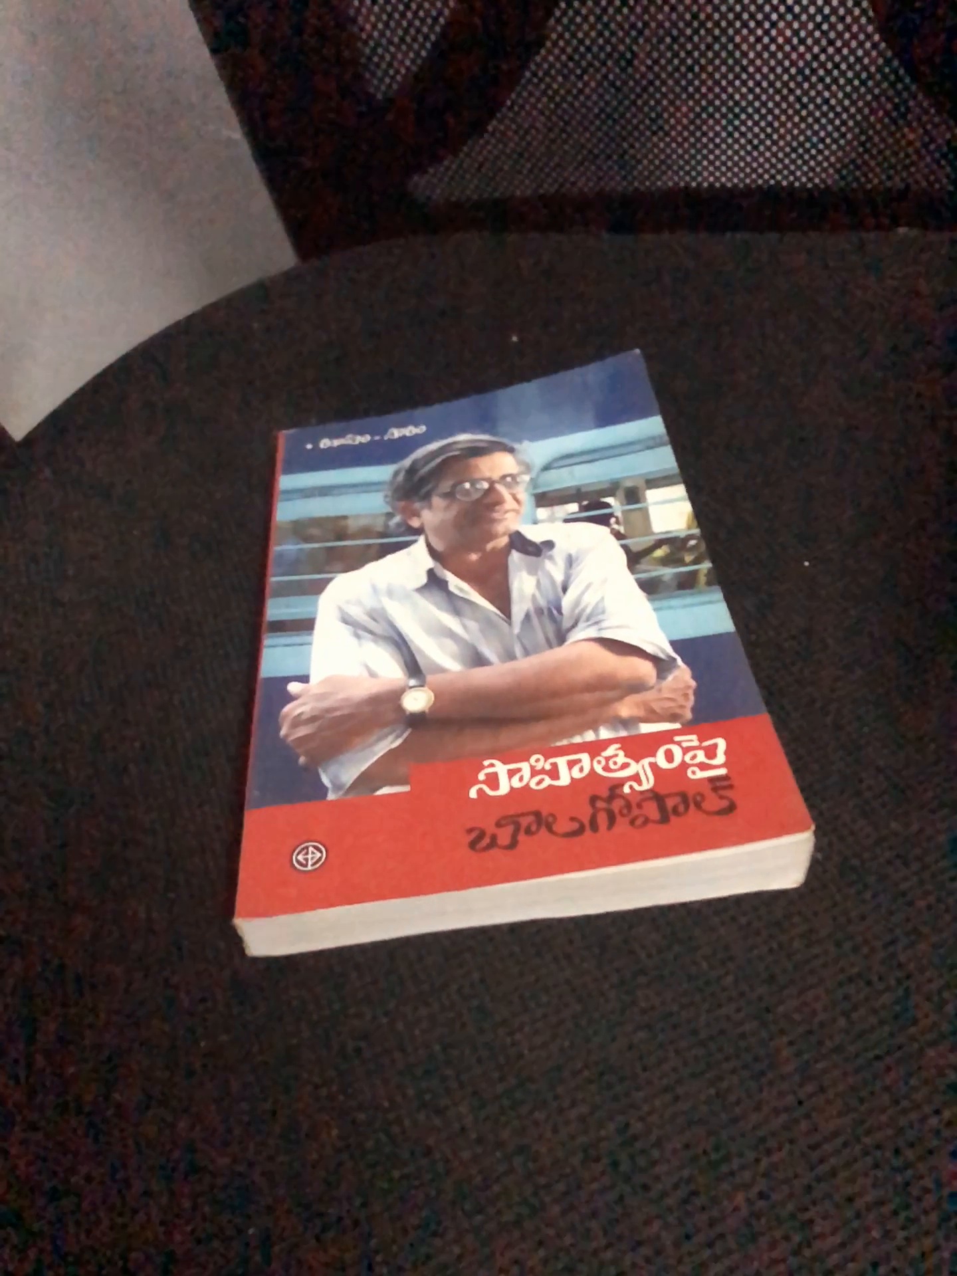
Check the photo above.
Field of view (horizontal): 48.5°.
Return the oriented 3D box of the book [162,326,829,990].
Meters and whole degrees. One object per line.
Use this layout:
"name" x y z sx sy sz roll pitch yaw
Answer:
"book" -0.004 -0.015 0.329 0.152 0.030 0.226 -9 45 2
